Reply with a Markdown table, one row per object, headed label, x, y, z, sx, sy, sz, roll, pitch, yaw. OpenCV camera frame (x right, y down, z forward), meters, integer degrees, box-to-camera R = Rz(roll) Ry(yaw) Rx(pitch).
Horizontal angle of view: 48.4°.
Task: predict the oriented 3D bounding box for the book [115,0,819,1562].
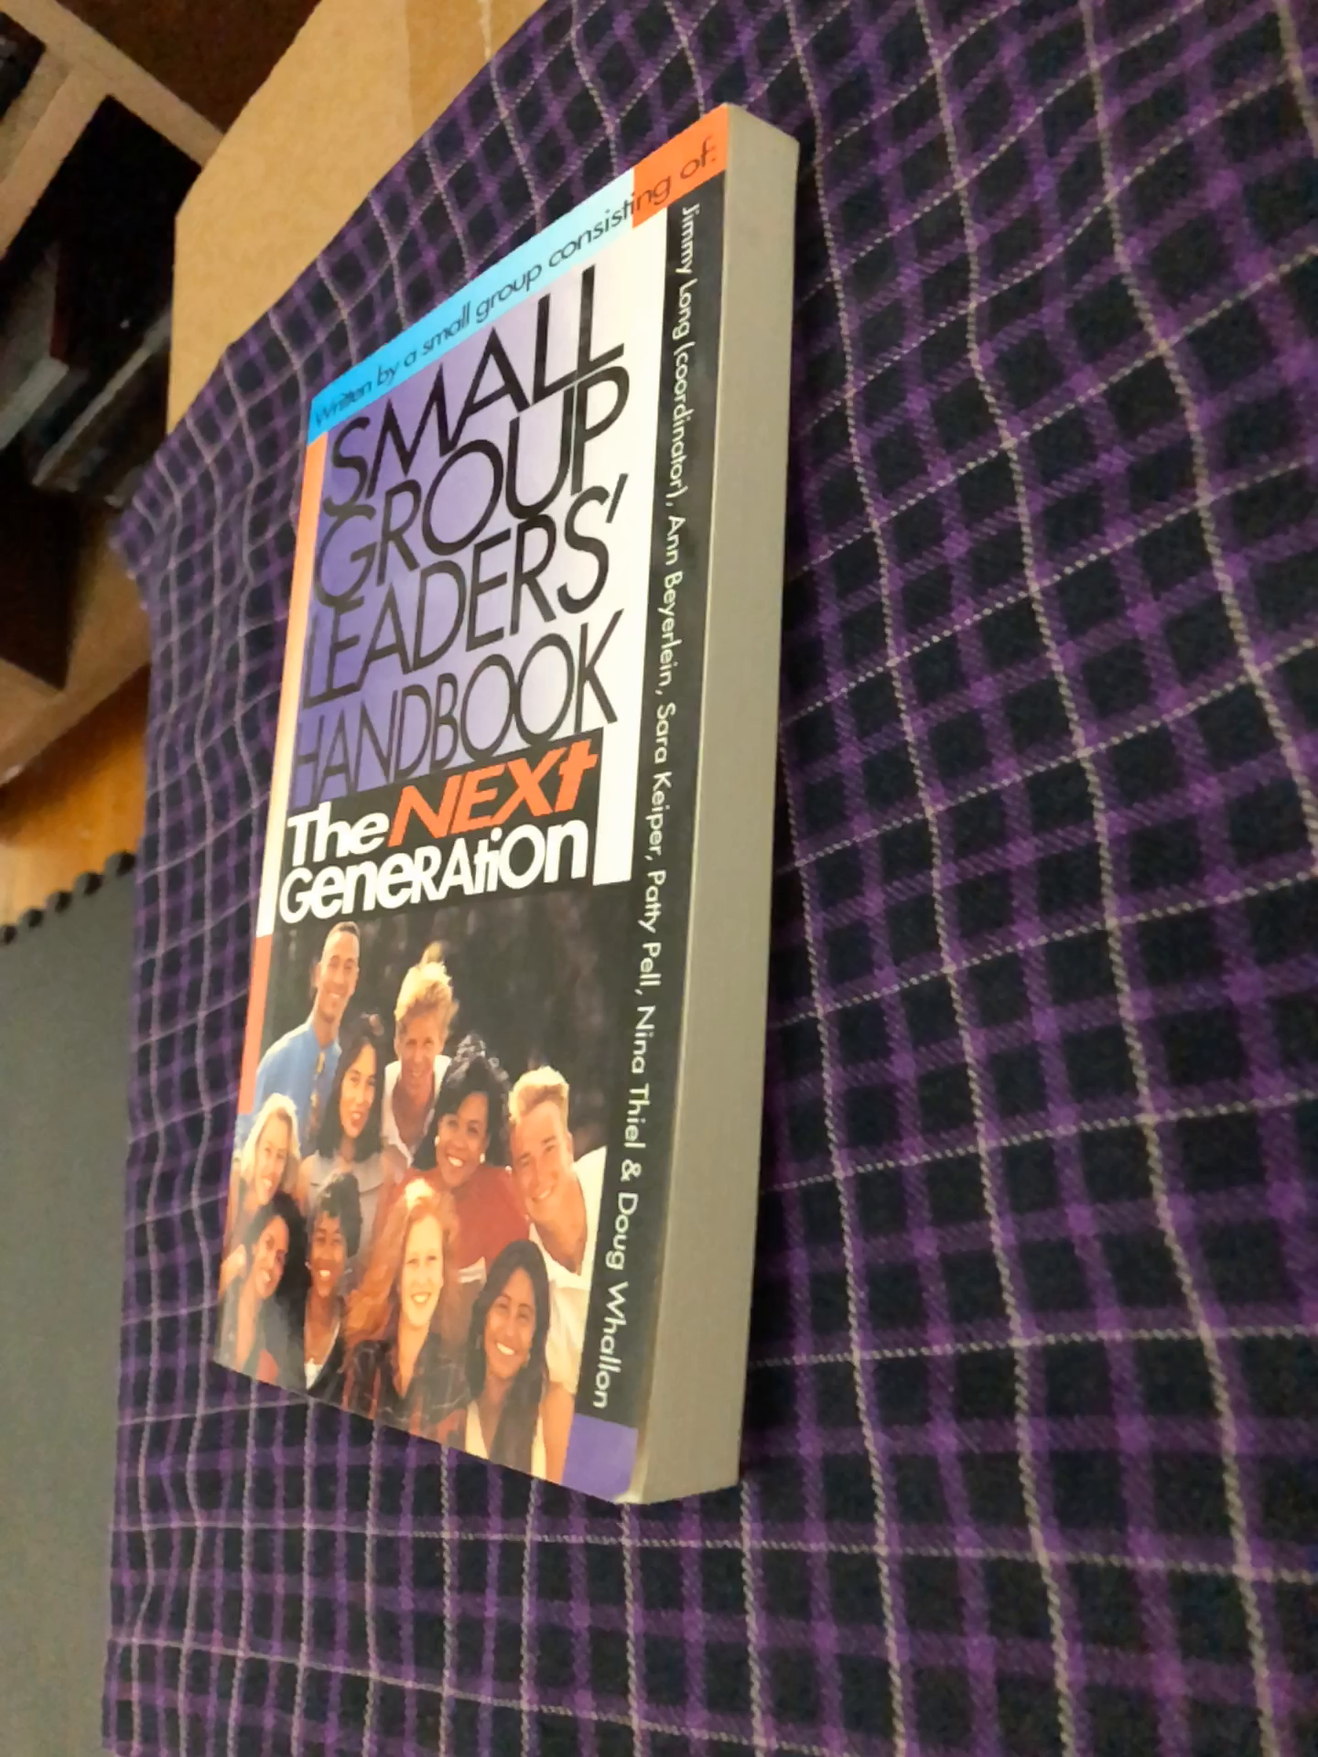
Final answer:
| label | x | y | z | sx | sy | sz | roll | pitch | yaw |
| --- | --- | --- | --- | --- | --- | --- | --- | --- | --- |
| book | -0.040 | -0.016 | 0.260 | 0.151 | 0.030 | 0.220 | -10 | 74 | 48 |
